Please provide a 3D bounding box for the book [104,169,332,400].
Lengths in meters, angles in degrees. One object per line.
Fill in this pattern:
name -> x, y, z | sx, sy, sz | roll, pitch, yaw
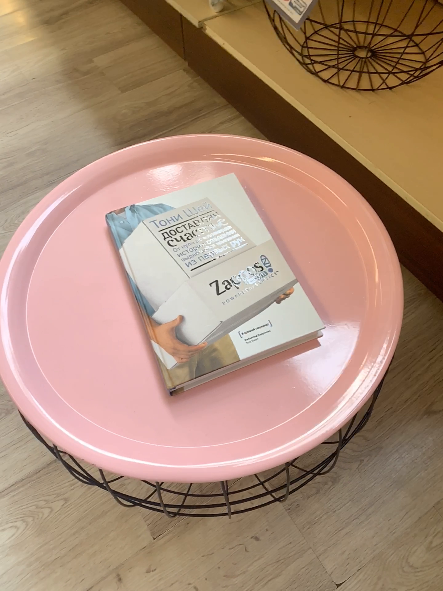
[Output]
book -> -0.014, -0.027, 0.494 | 0.170, 0.030, 0.232 | -19, 60, -9
